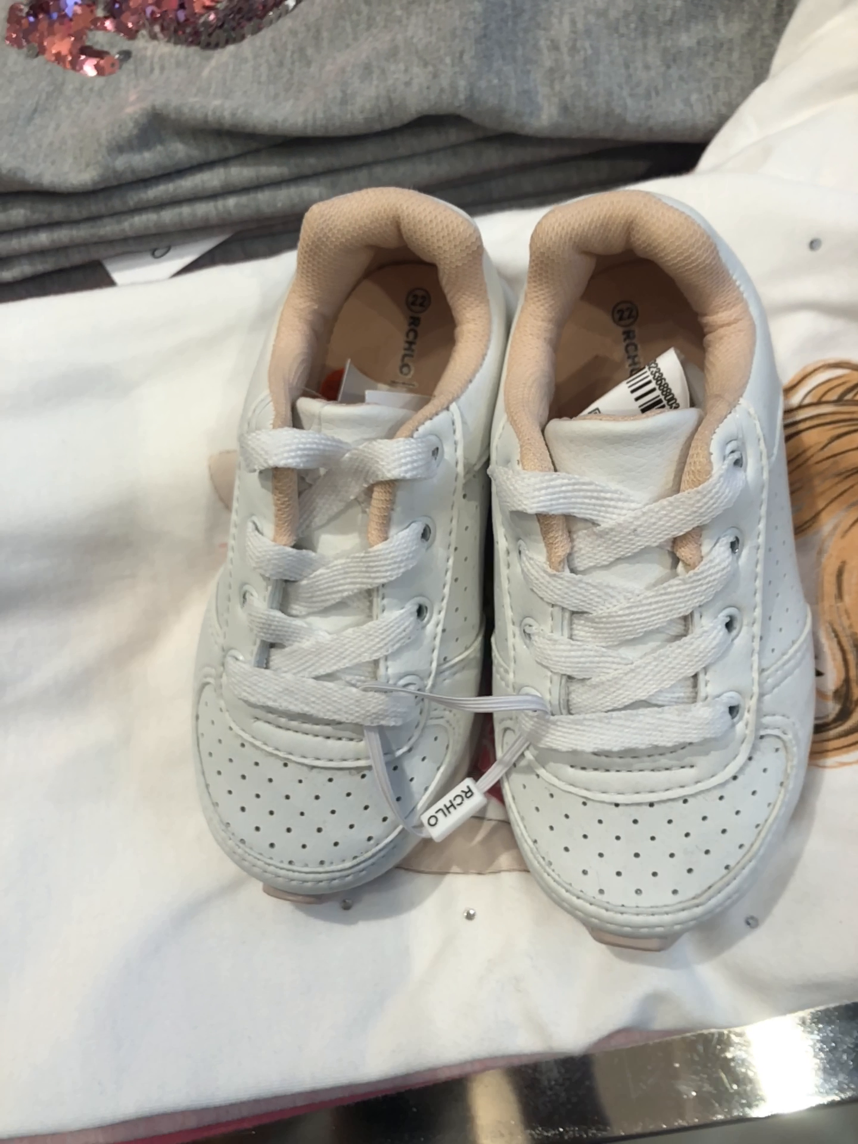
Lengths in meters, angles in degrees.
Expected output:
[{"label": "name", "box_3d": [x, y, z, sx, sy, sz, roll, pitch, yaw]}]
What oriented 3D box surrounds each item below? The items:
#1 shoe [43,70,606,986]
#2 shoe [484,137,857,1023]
[{"label": "shoe", "box_3d": [-0.017, -0.010, 0.208, 0.080, 0.060, 0.160, 9, 86, 3]}, {"label": "shoe", "box_3d": [0.053, 0.001, 0.205, 0.080, 0.060, 0.160, 0, 86, 2]}]
